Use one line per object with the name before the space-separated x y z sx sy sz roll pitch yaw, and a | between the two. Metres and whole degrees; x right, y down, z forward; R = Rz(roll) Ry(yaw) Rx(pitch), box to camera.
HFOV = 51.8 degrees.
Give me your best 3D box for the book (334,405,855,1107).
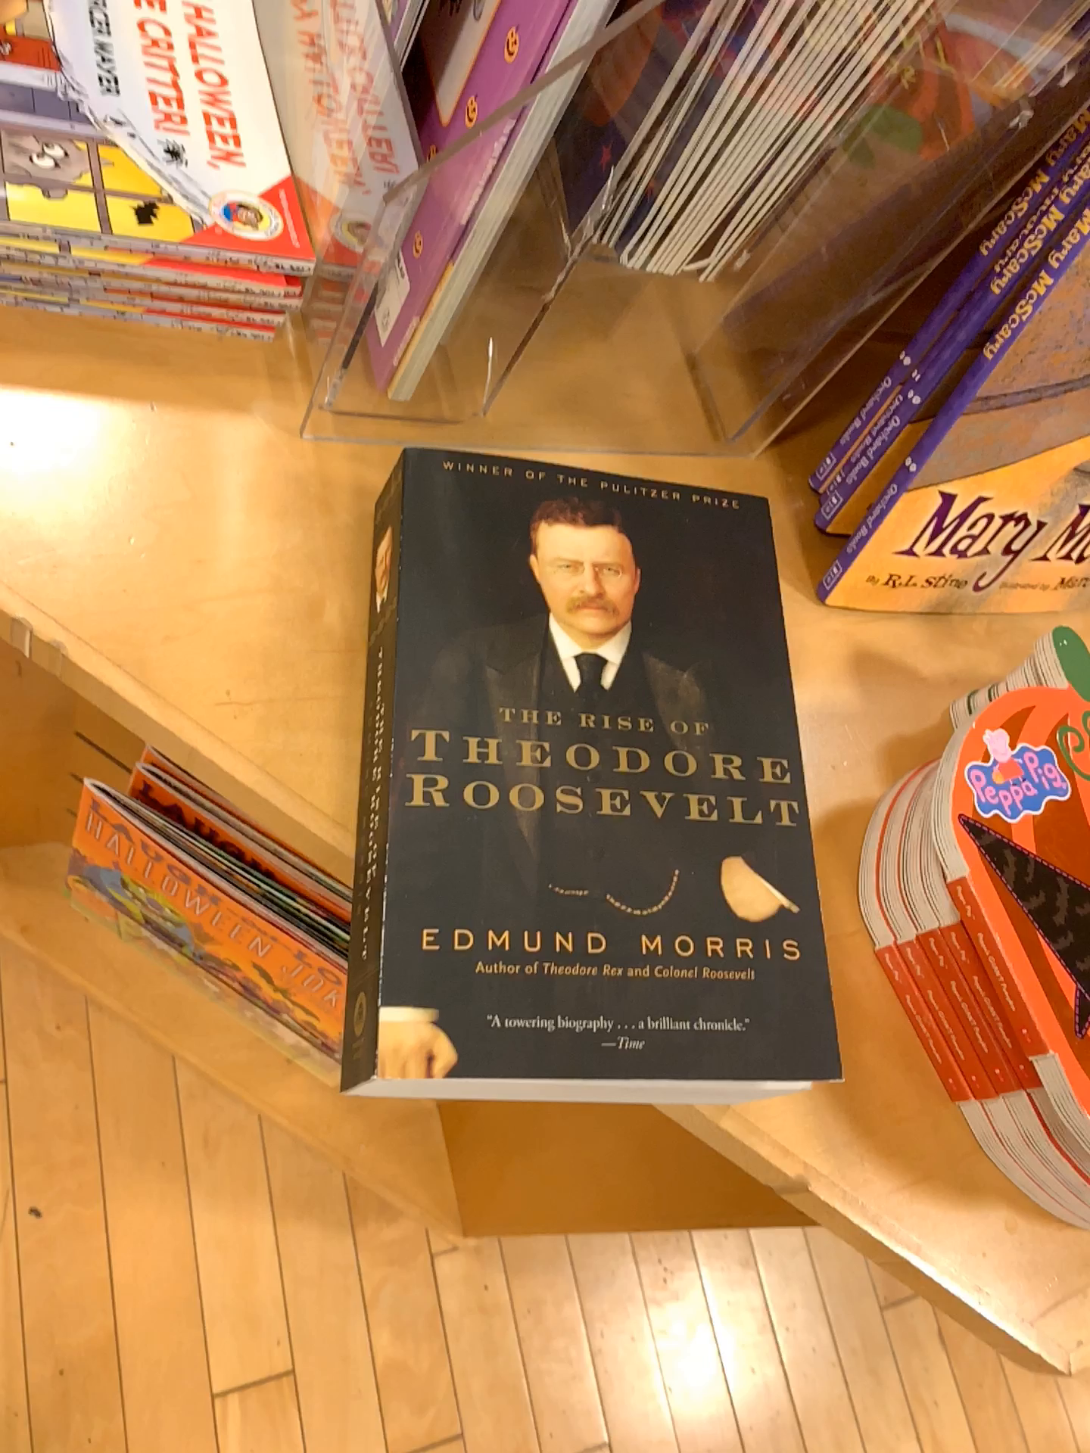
book | 0.012 0.012 0.355 0.130 0.066 0.195 10 63 -21
